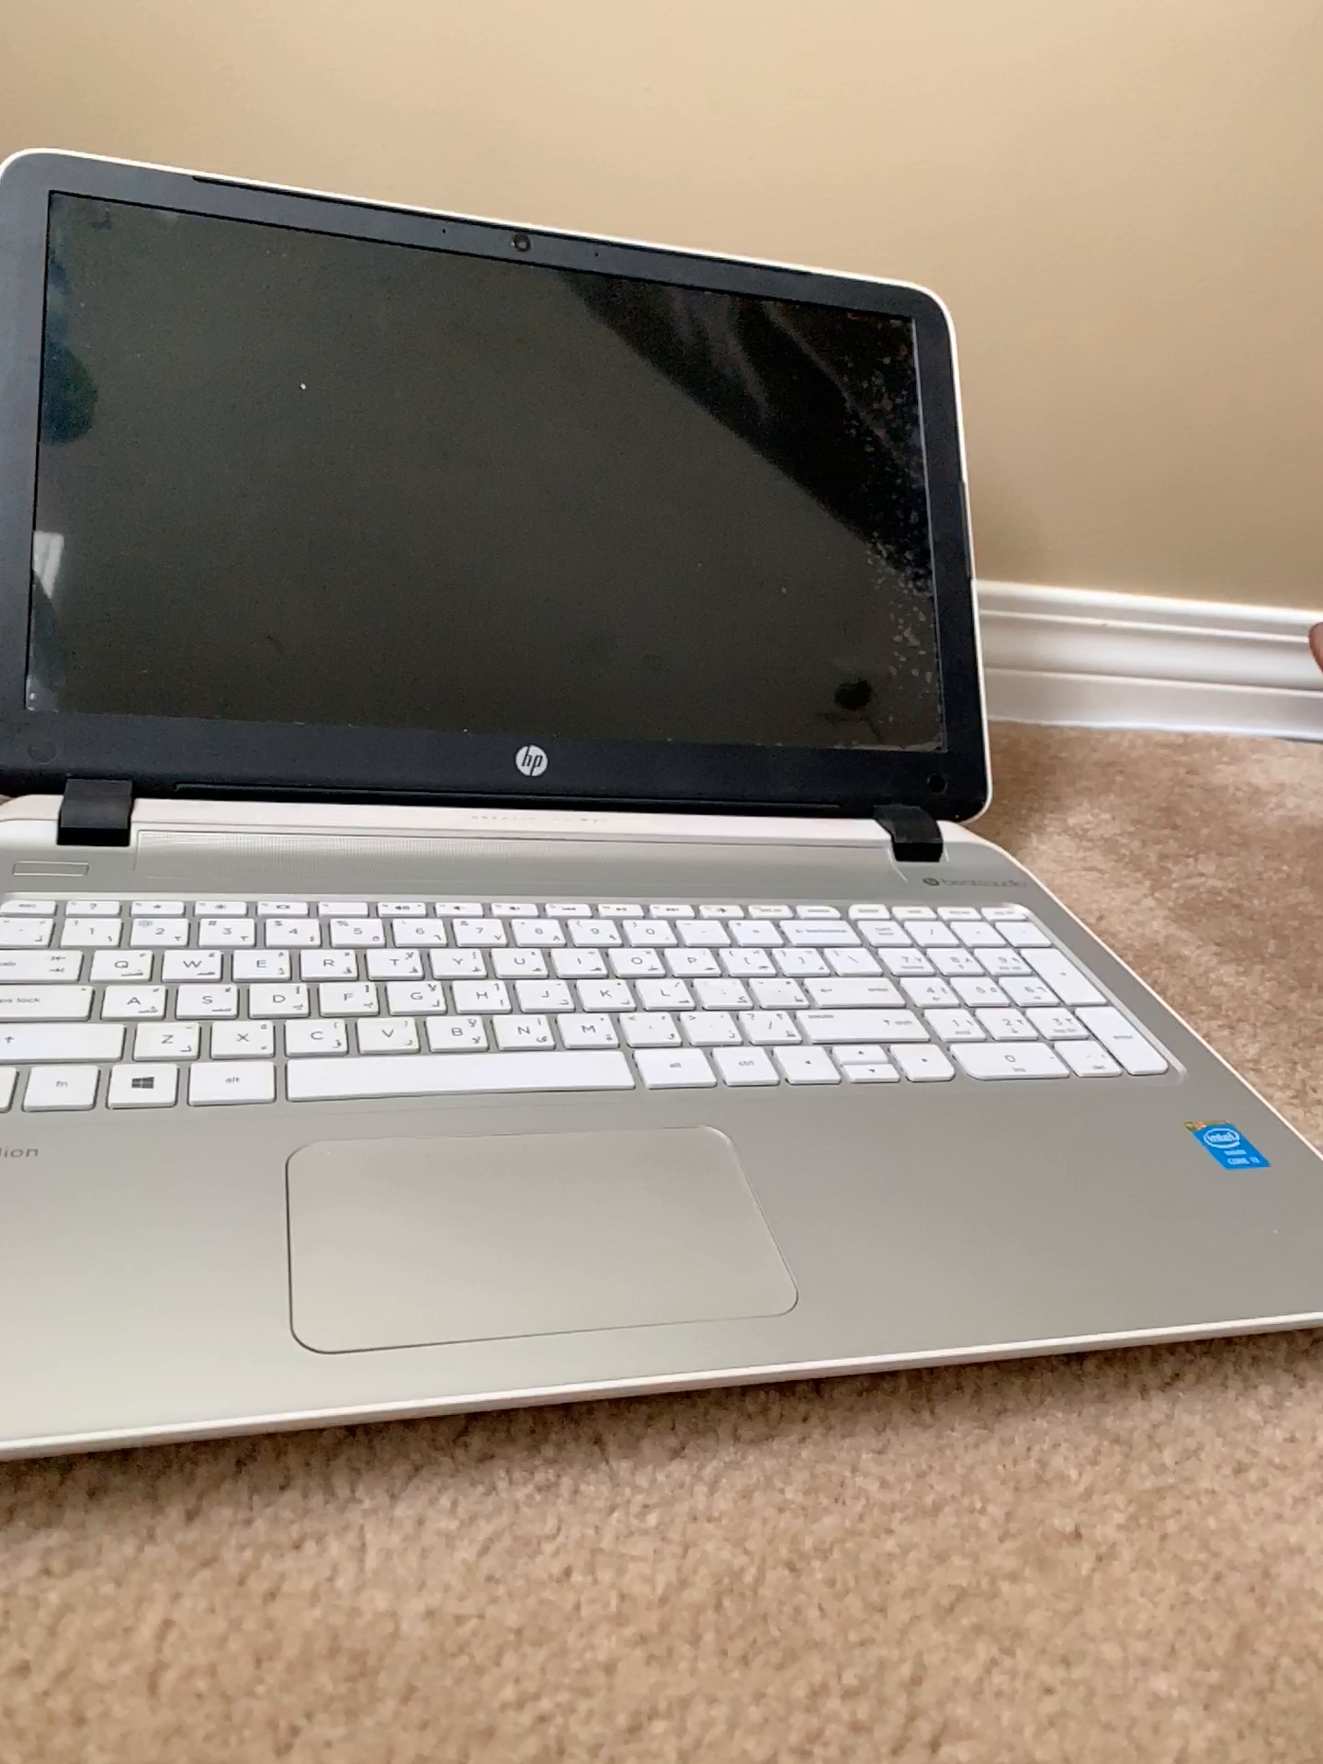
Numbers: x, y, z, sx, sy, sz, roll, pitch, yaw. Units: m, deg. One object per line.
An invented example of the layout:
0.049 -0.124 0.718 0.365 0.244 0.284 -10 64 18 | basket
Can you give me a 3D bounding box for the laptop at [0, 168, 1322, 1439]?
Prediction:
-0.016 -0.068 0.390 0.349 0.187 0.351 0 28 -16 | laptop
